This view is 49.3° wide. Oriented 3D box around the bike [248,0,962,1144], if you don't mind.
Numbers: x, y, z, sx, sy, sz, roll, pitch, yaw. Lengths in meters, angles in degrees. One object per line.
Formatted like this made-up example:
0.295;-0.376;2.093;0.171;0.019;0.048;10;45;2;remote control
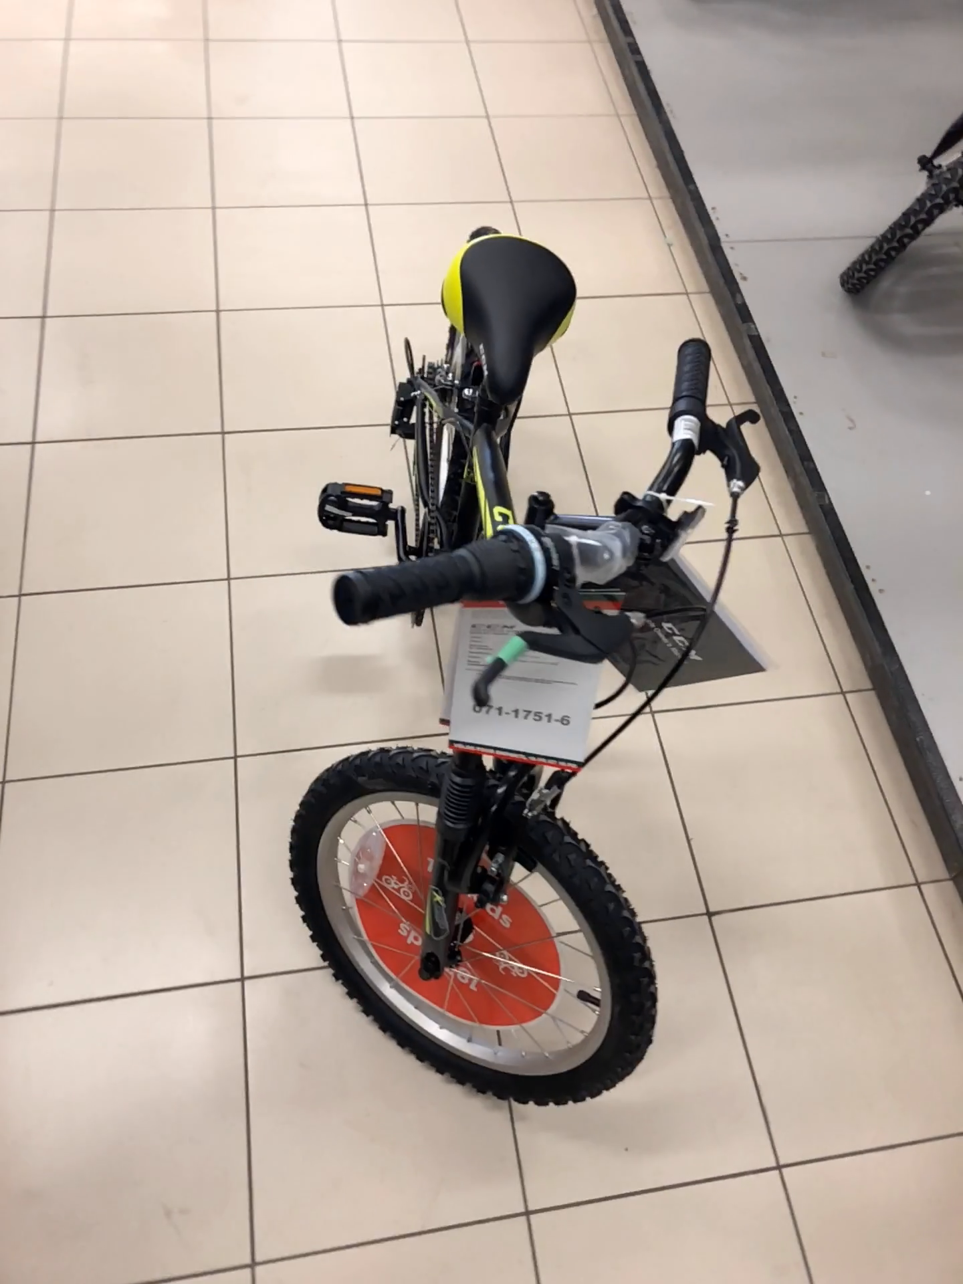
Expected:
0.067;-0.169;1.192;0.549;0.862;1.198;-4;58;-8;bike
